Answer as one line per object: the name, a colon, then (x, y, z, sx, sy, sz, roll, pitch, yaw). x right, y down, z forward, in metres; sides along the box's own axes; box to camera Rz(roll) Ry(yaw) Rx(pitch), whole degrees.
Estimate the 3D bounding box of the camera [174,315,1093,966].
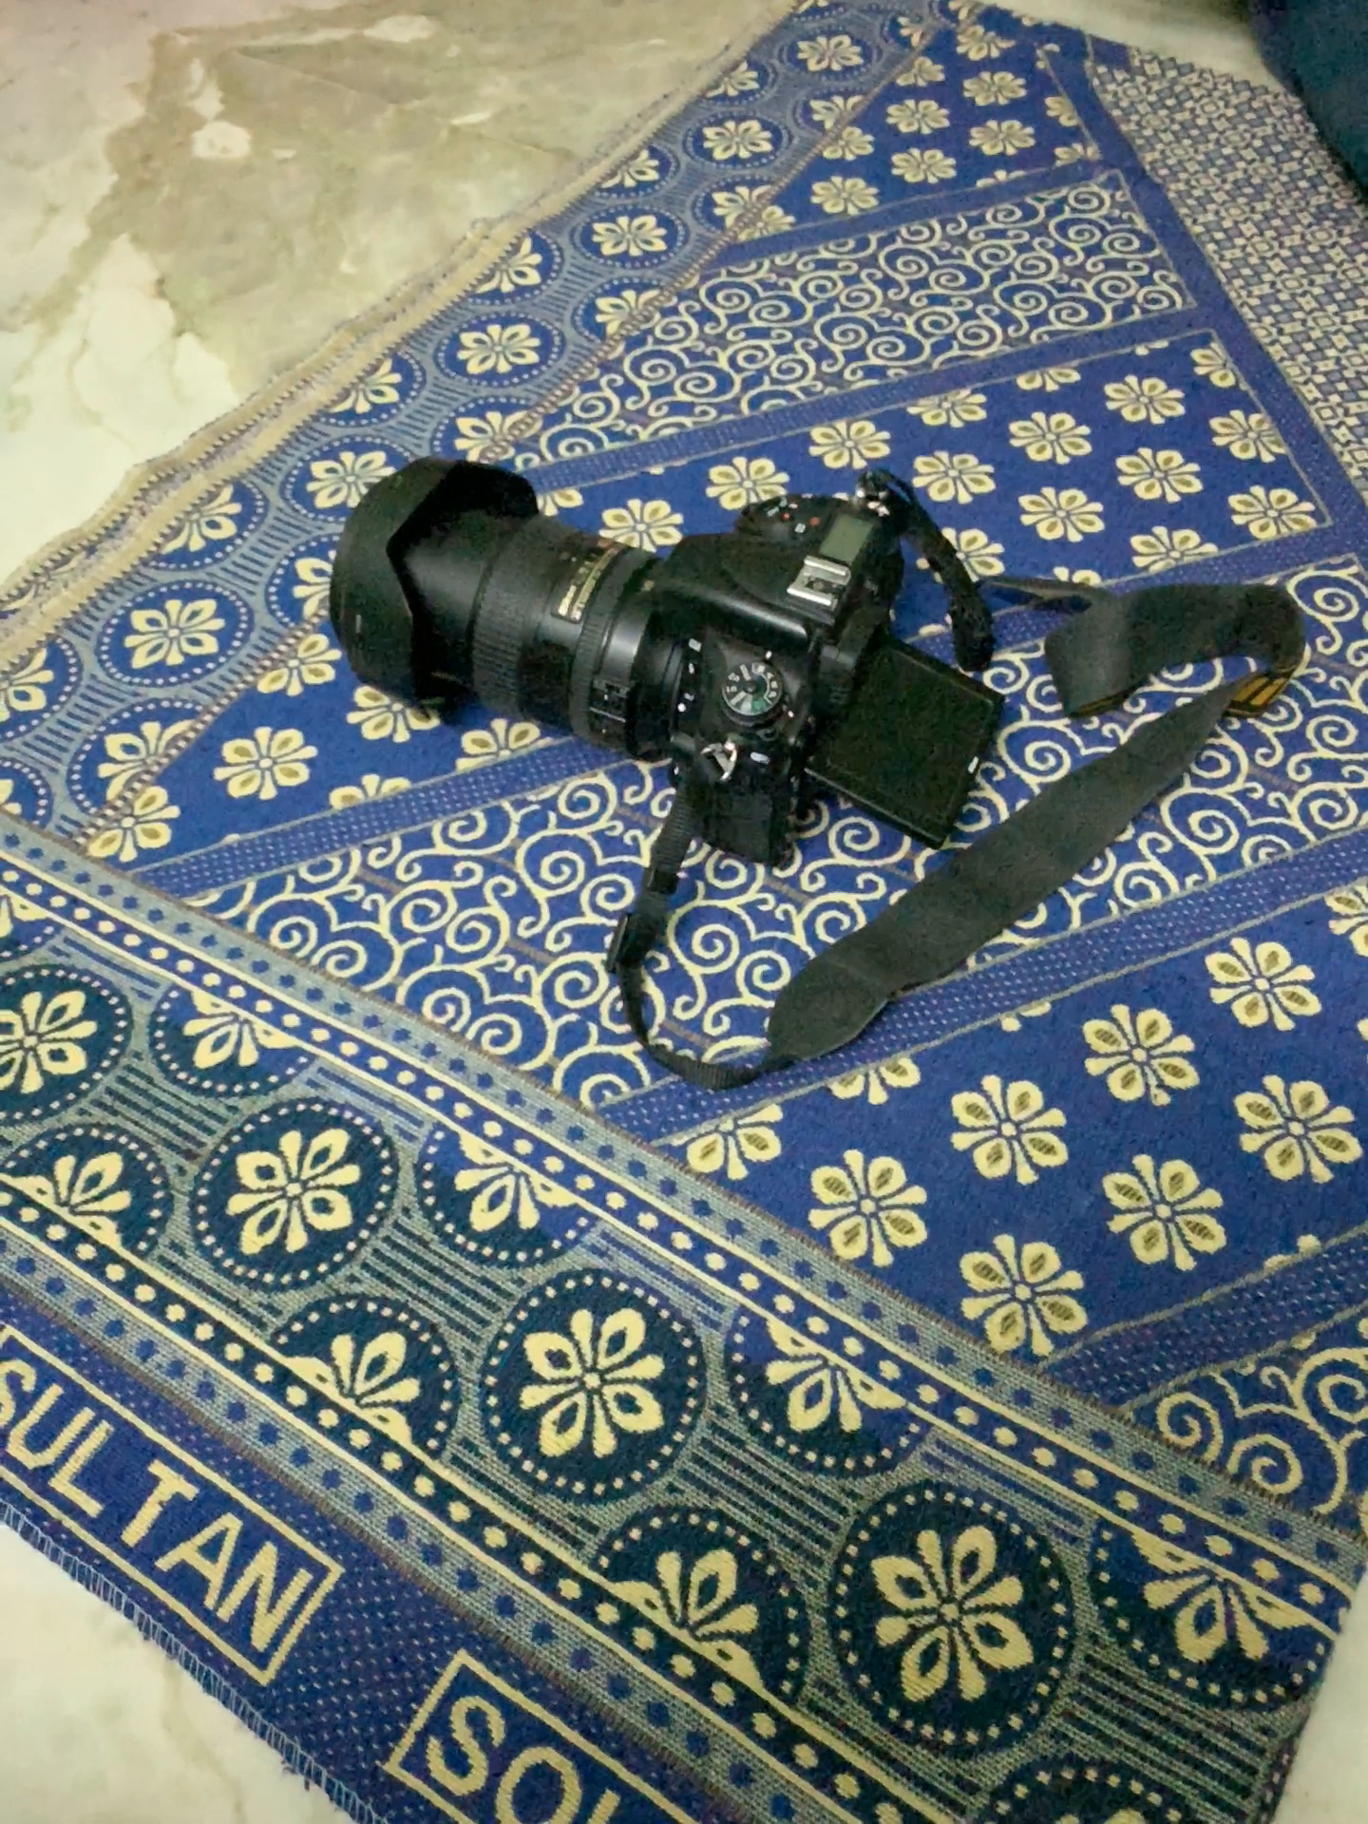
camera: (-0.019, -0.123, 0.591, 0.320, 0.110, 0.160, 20, 58, 15)
